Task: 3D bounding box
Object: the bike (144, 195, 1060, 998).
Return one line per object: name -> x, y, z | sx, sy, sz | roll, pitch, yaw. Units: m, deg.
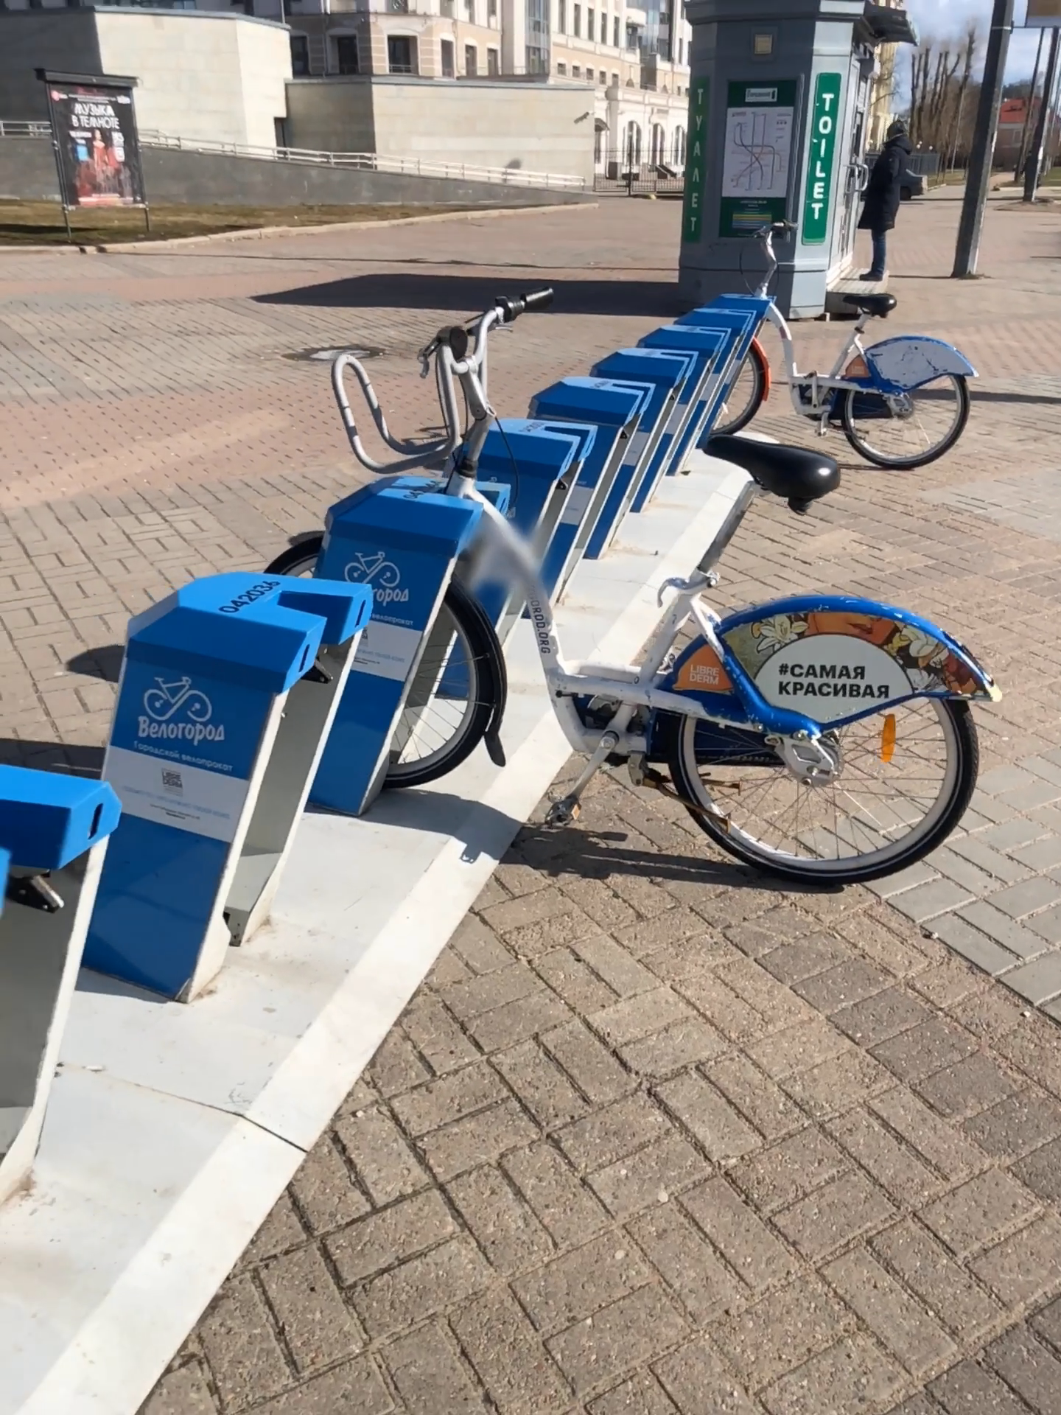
bike -> 0.139, -0.304, 2.432 | 1.627, 1.204, 0.598 | 12, 26, 14
